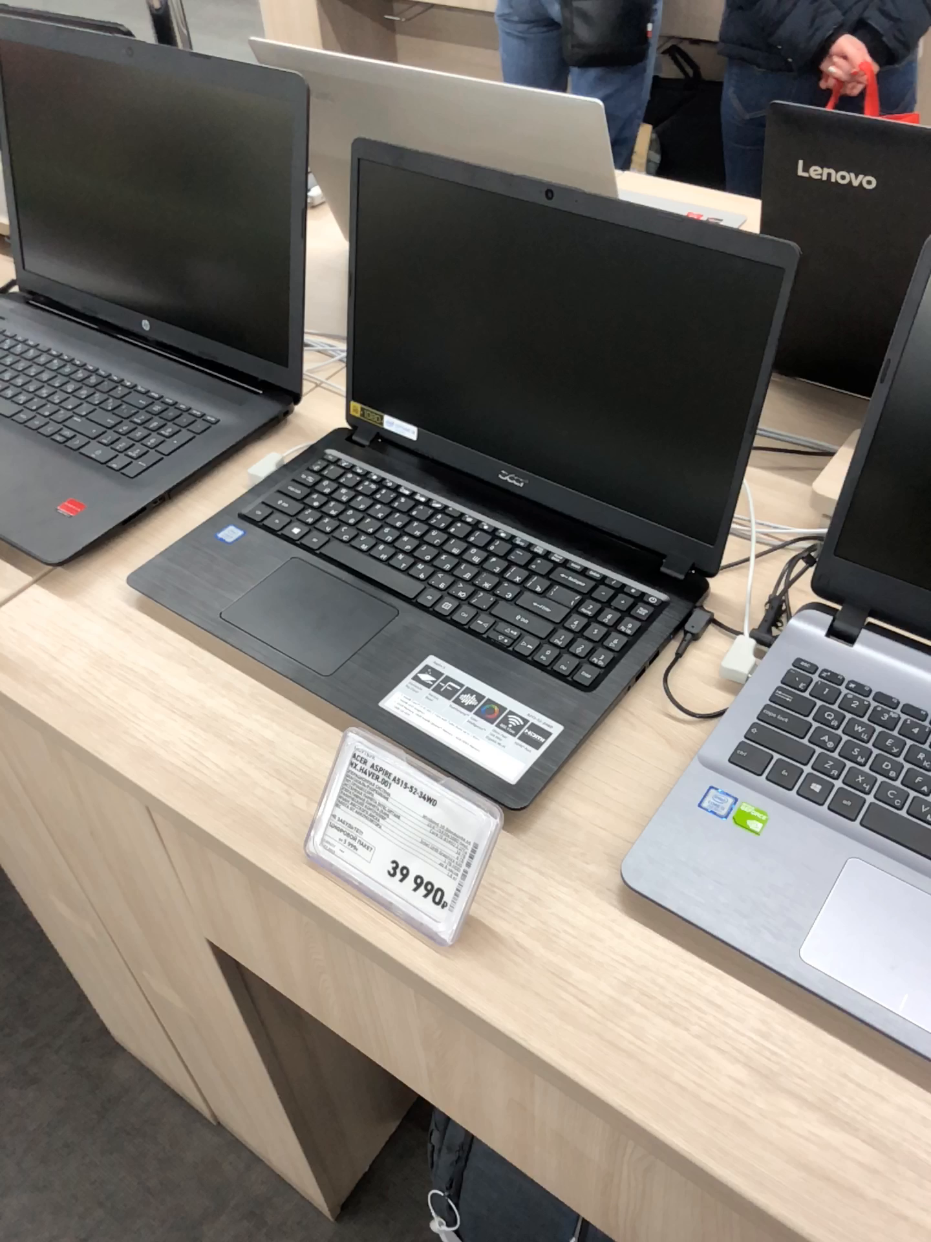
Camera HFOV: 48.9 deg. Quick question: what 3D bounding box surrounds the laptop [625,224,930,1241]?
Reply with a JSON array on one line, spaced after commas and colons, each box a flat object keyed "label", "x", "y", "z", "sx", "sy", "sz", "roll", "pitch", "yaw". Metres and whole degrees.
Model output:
[{"label": "laptop", "x": 0.306, "y": 0.021, "z": 0.477, "sx": 0.327, "sy": 0.218, "sz": 0.325, "roll": 26, "pitch": 54, "yaw": 29}]

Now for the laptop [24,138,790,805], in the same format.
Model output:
[{"label": "laptop", "x": -0.028, "y": -0.126, "z": 0.675, "sx": 0.346, "sy": 0.219, "sz": 0.292, "roll": 26, "pitch": 52, "yaw": 28}]

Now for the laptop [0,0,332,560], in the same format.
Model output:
[{"label": "laptop", "x": -0.367, "y": -0.310, "z": 0.851, "sx": 0.354, "sy": 0.226, "sz": 0.346, "roll": 24, "pitch": 52, "yaw": 23}]
